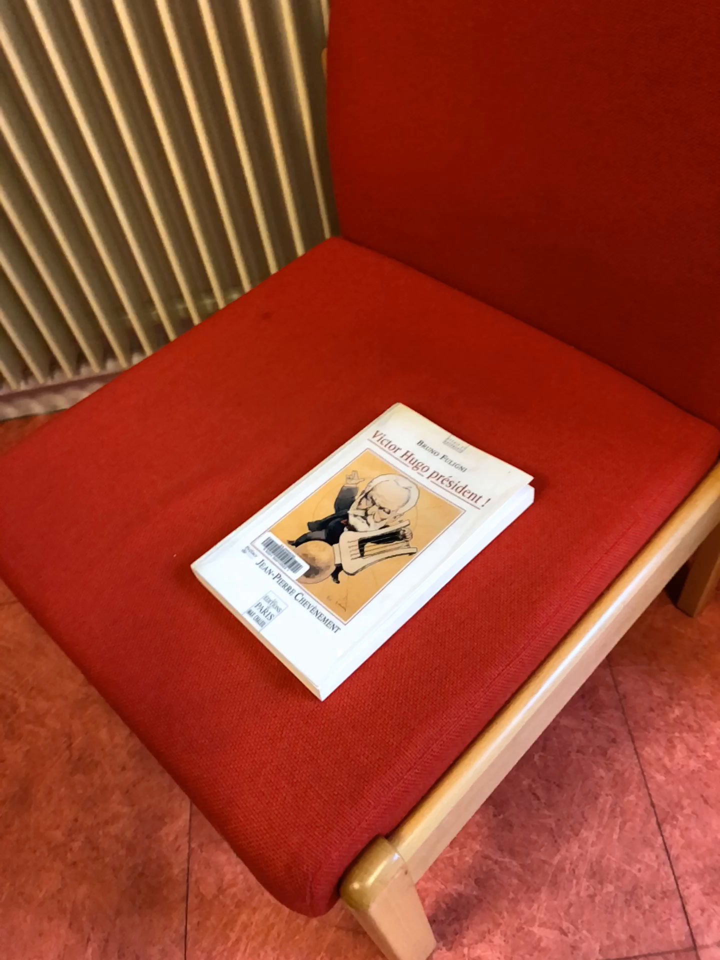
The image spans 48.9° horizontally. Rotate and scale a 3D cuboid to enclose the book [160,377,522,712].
[{"bbox_3d":[-0.010,0.036,0.609,0.151,0.040,0.237,36,65,30],"label":"book"}]
